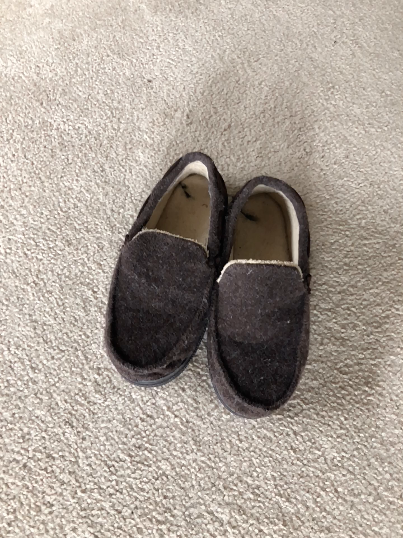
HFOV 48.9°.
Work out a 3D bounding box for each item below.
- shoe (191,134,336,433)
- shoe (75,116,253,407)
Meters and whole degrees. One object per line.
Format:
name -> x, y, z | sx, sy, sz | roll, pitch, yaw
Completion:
shoe -> 0.075, 0.009, 0.511 | 0.118, 0.096, 0.317 | 9, 66, 3
shoe -> -0.029, -0.017, 0.525 | 0.120, 0.096, 0.318 | 11, 66, 4
